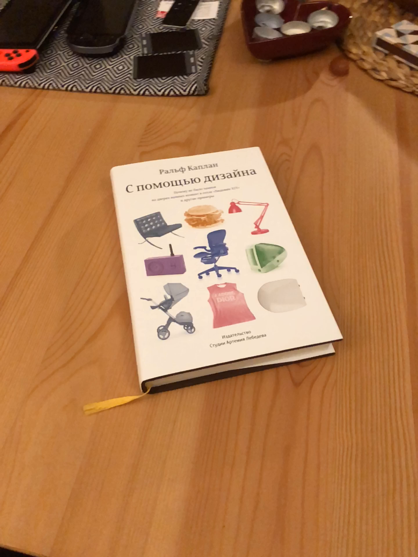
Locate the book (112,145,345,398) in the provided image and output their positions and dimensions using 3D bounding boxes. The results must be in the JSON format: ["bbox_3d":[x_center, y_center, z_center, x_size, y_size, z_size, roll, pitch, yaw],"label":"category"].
[{"bbox_3d":[0.003,-0.023,0.410,0.152,0.034,0.227,-10,55,-7],"label":"book"}]
